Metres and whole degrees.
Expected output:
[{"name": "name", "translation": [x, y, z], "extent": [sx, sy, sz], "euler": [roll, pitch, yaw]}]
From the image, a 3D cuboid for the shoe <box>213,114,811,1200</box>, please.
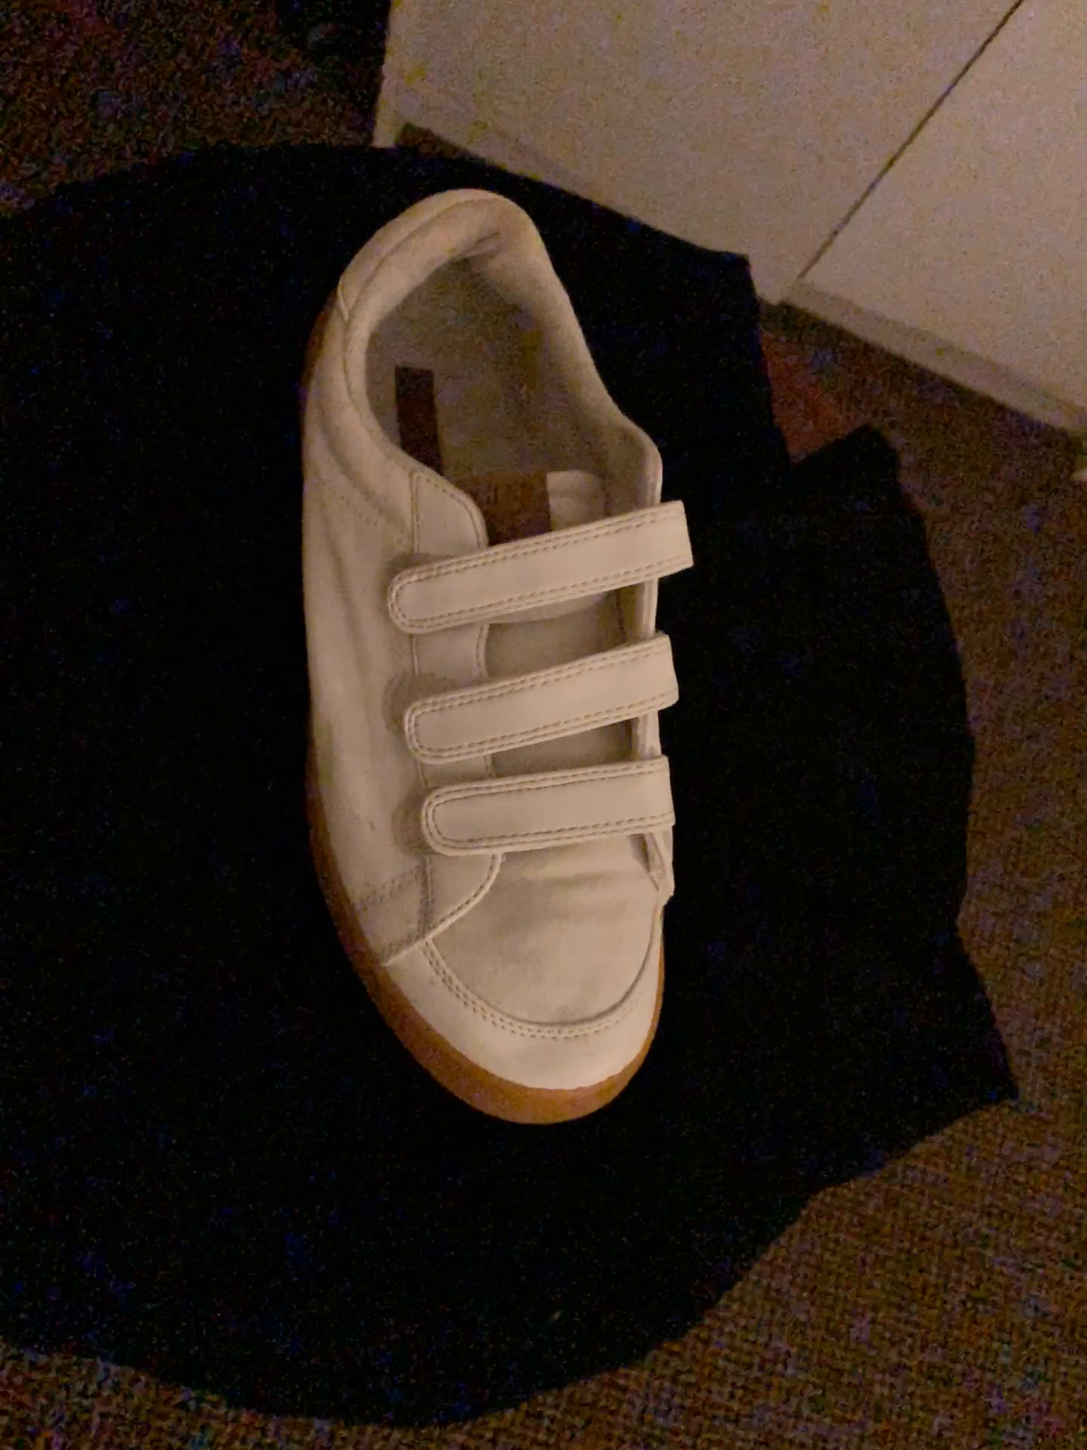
[{"name": "shoe", "translation": [-0.020, -0.024, 0.302], "extent": [0.096, 0.080, 0.254], "euler": [-8, 79, -16]}]
